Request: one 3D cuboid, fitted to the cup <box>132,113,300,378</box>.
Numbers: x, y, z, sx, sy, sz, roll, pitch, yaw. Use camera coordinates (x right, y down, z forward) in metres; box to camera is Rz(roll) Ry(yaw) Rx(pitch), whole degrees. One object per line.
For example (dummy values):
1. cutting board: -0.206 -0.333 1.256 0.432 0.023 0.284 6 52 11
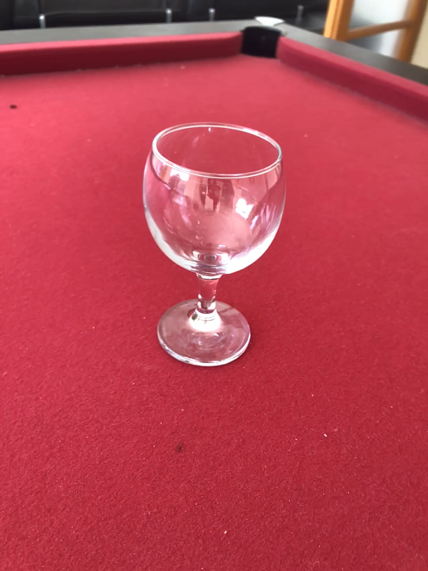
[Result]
1. cup: 0.000 -0.023 0.288 0.070 0.129 0.070 3 38 -3
